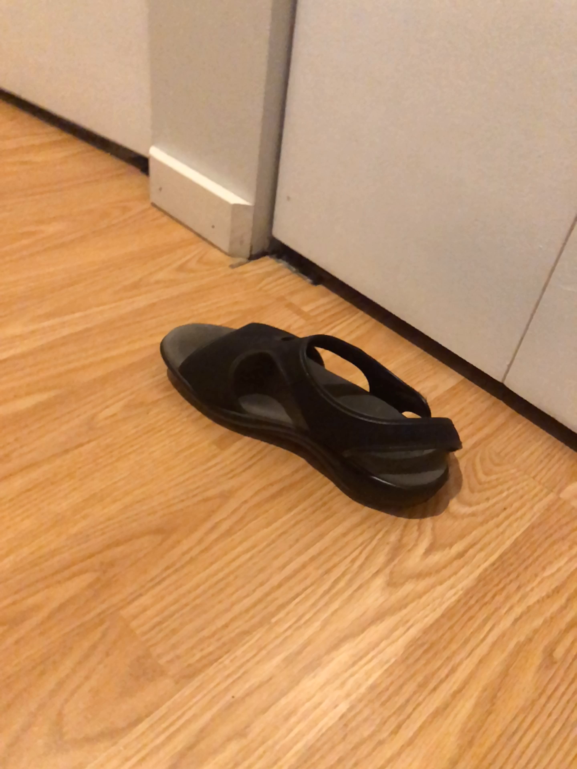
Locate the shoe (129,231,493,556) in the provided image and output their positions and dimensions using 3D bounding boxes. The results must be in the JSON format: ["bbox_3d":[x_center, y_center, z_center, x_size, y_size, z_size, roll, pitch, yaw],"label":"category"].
[{"bbox_3d":[0.003,-0.007,0.480,0.250,0.100,0.100,33,46,25],"label":"shoe"}]
